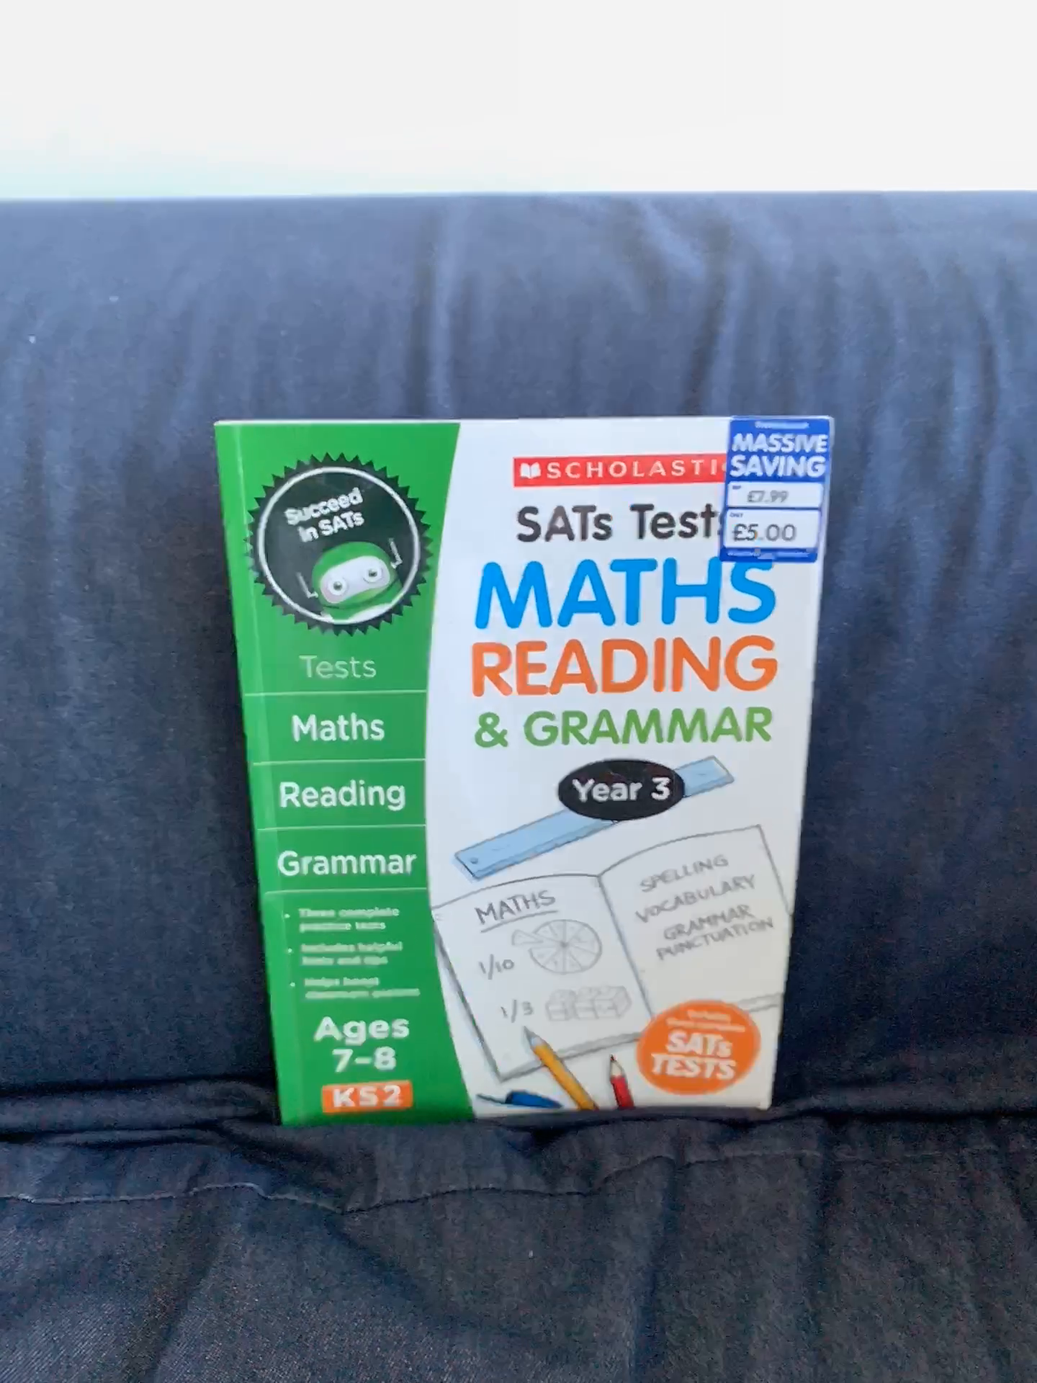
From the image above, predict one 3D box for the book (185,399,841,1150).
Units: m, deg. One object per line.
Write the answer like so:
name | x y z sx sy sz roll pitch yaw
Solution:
book | 0.001 0.044 0.405 0.209 0.293 0.022 -2 21 -3
